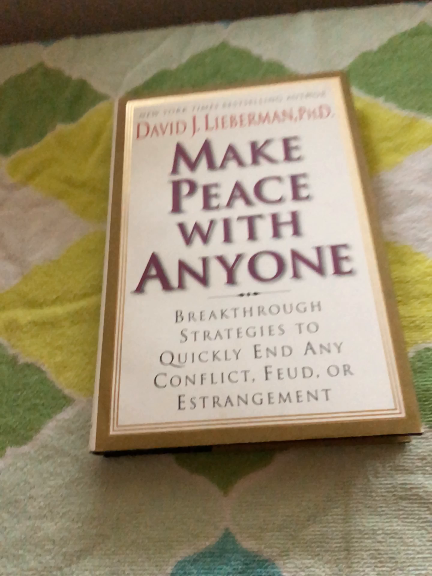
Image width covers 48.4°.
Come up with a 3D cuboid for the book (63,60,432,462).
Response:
[{"bbox_3d":[0.009,-0.025,0.246,0.145,0.030,0.205,-5,63,5],"label":"book"}]
